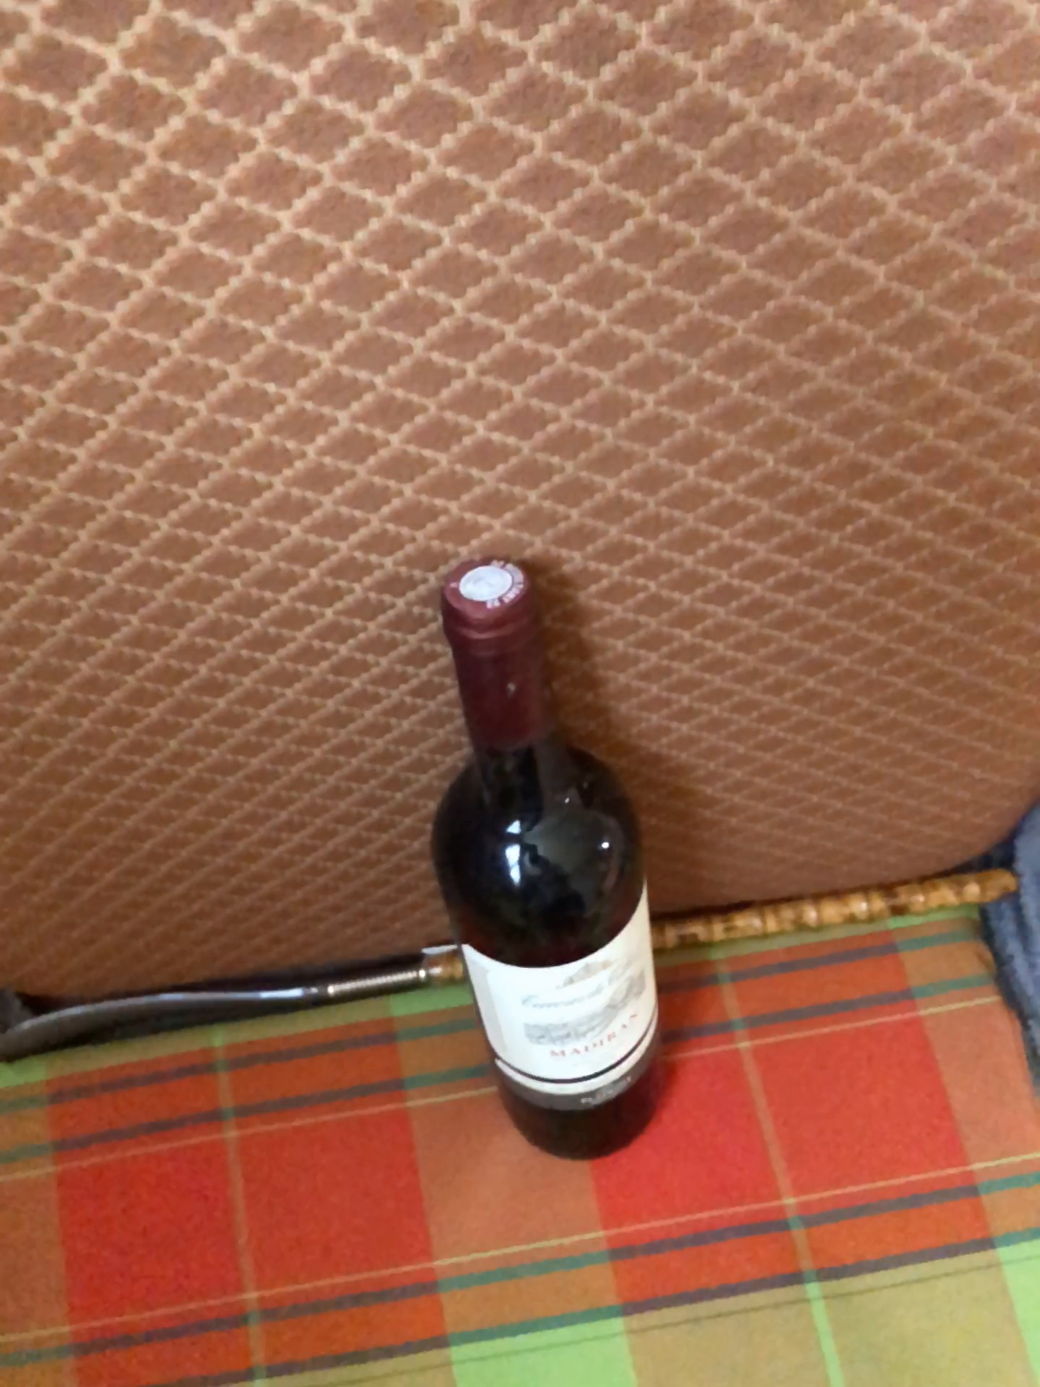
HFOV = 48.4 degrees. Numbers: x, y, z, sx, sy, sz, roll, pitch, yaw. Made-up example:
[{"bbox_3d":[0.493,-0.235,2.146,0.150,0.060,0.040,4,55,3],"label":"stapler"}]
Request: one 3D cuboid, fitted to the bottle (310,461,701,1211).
[{"bbox_3d":[0.008,0.075,0.421,0.080,0.299,0.090,-18,46,-7],"label":"bottle"}]
